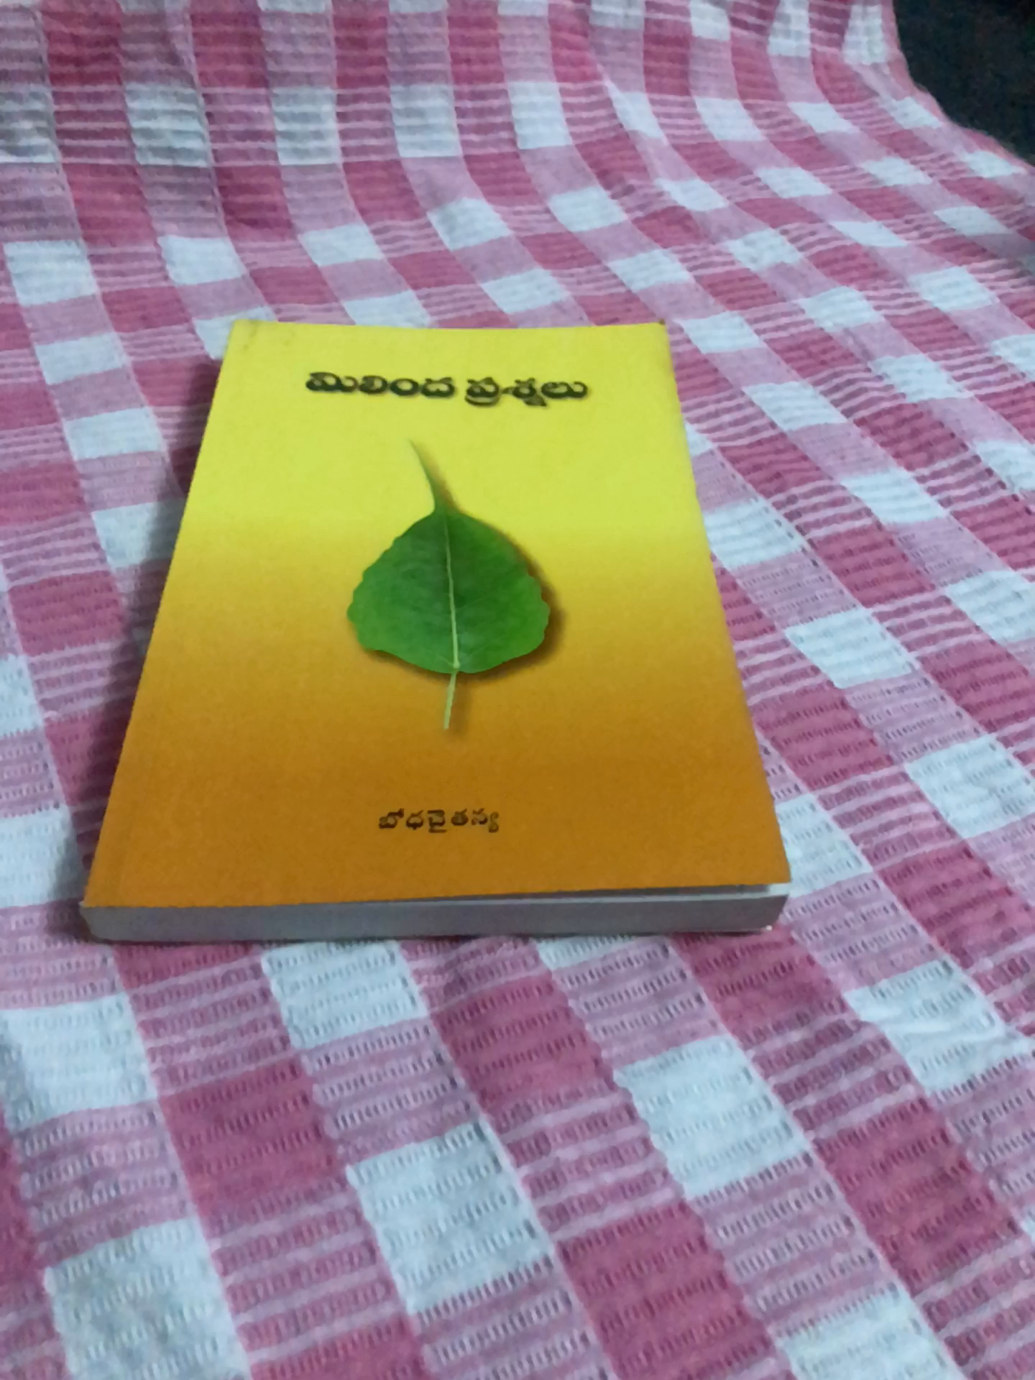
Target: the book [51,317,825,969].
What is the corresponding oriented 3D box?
[{"bbox_3d":[-0.018,-0.031,0.305,0.150,0.020,0.221,1,47,-4],"label":"book"}]
